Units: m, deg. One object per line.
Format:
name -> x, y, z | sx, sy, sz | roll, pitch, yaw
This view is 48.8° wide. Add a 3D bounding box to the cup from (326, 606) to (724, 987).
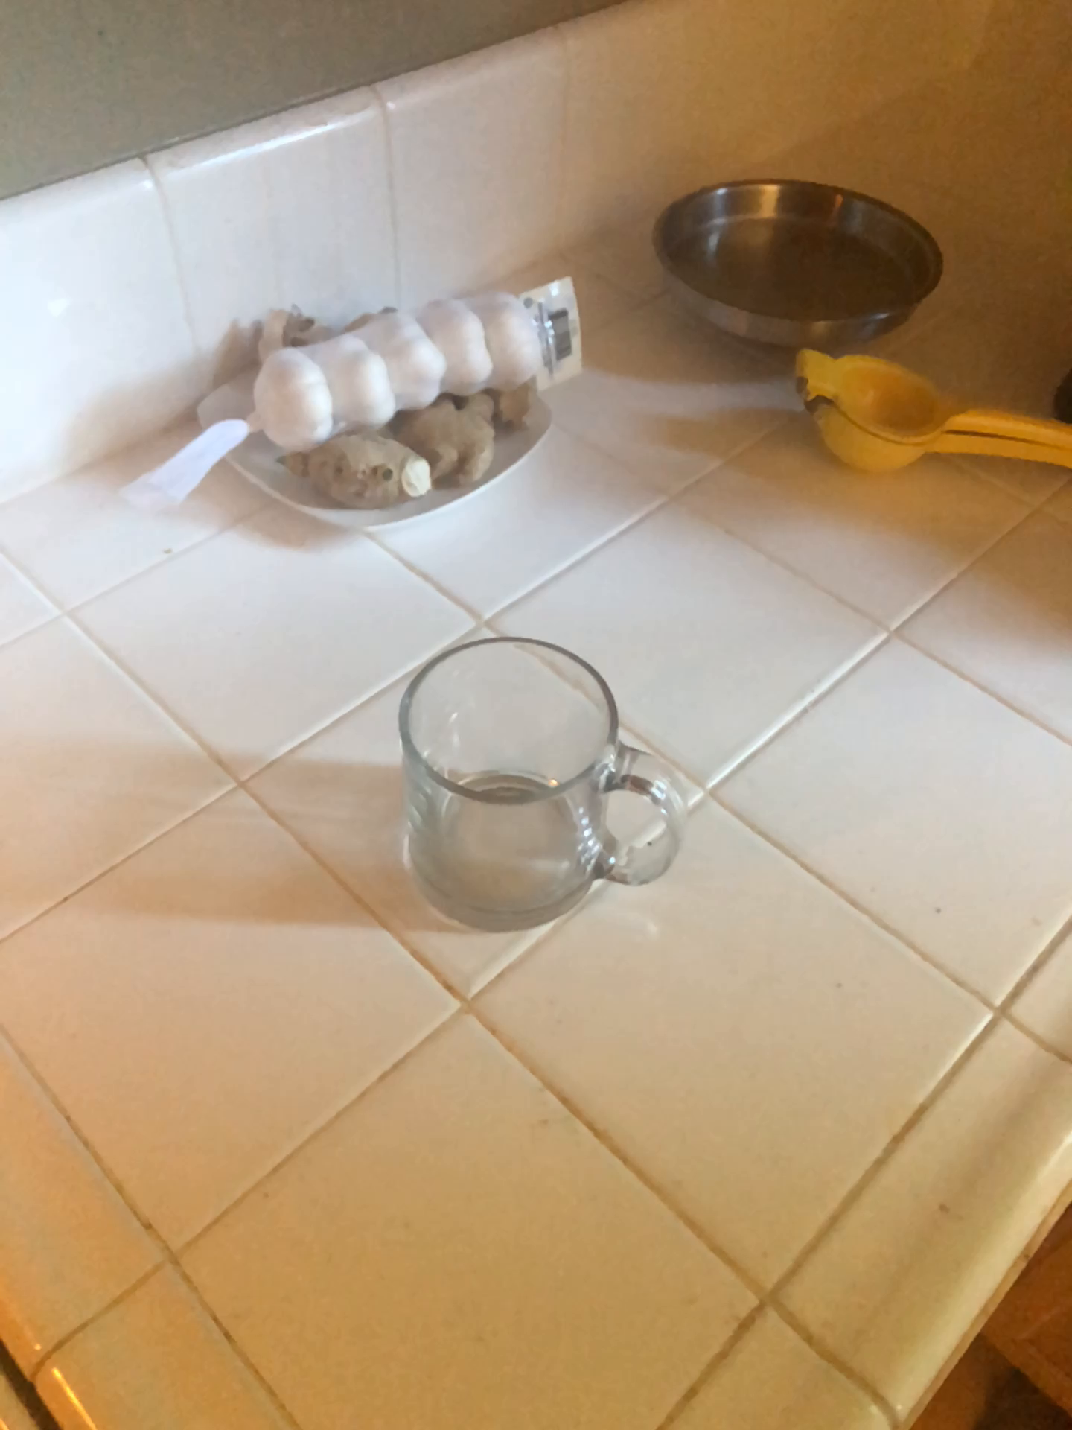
cup -> -0.001, 0.031, 0.473 | 0.130, 0.079, 0.101 | 11, 50, 6
